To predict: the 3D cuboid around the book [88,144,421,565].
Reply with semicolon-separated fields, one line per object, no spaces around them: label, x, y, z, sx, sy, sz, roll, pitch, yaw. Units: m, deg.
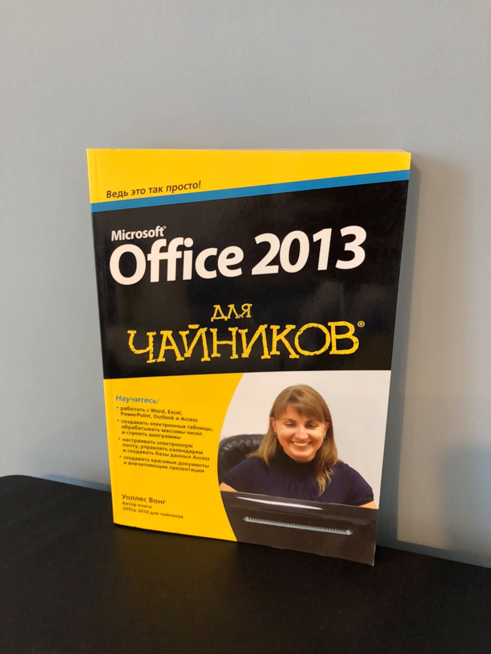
book;0.003;0.018;0.313;0.164;0.233;0.031;4;18;12
